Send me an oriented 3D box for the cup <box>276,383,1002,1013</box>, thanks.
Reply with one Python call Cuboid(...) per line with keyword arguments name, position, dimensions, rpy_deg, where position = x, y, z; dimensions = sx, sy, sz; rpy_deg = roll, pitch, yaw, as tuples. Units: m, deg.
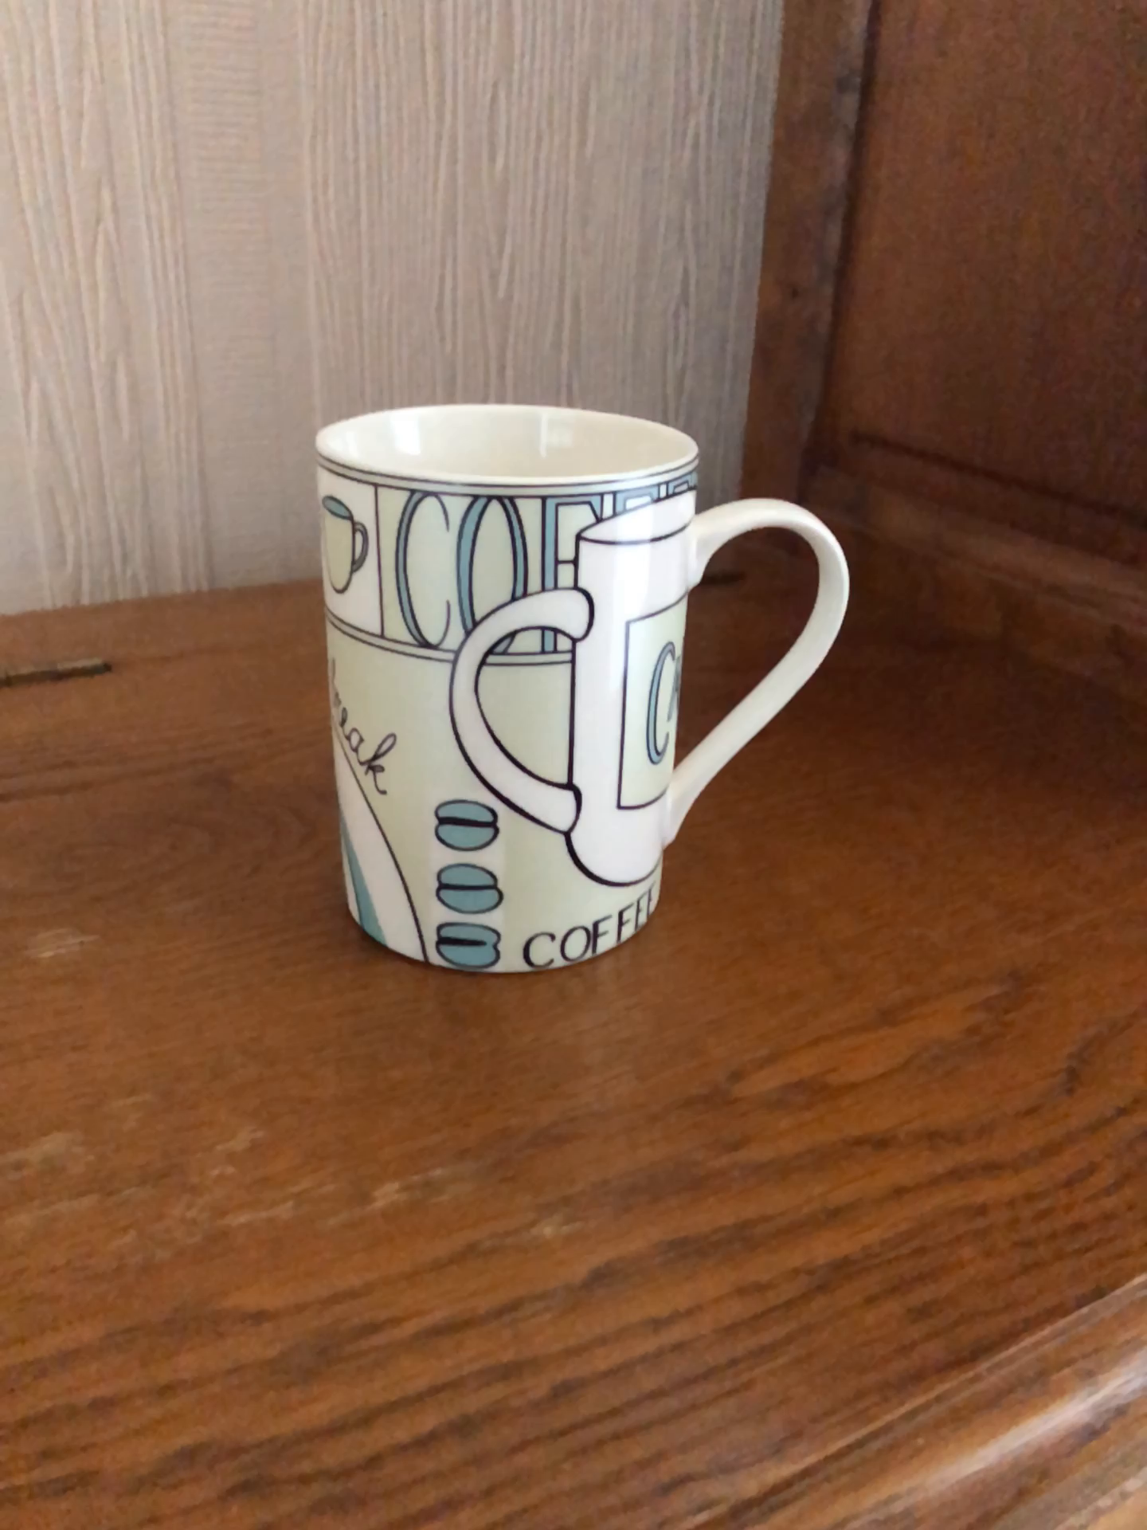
Cuboid(name="cup", position=(0.005, -0.021, 0.263), dimensions=(0.120, 0.099, 0.080), rpy_deg=(-4, 25, -14))
